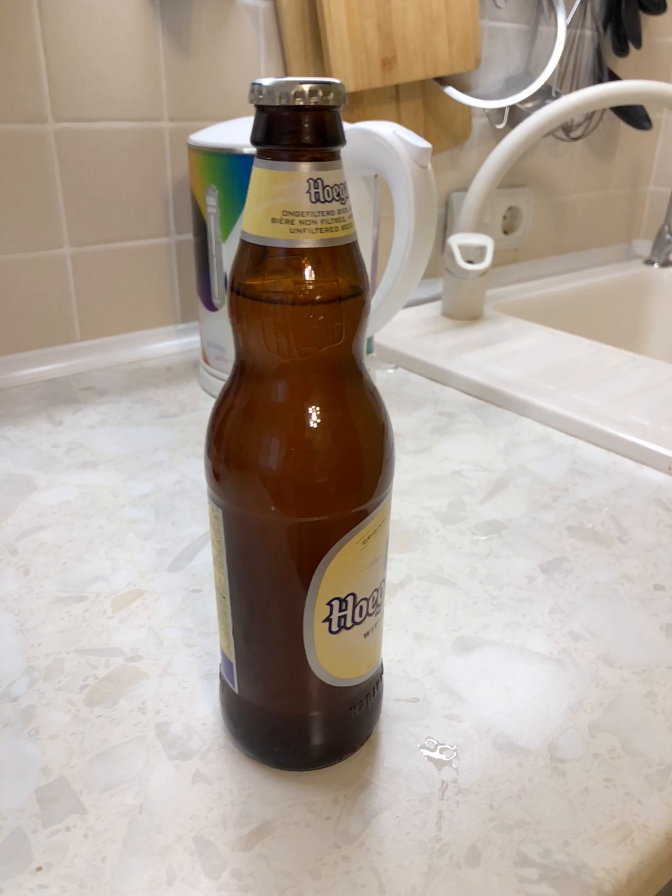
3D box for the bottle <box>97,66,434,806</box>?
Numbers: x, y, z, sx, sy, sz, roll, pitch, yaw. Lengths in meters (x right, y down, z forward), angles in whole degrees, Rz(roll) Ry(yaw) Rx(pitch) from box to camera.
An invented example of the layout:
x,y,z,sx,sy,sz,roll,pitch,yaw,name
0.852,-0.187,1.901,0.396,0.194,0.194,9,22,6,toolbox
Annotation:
x,y,z,sx,sy,sz,roll,pitch,yaw,name
-0.017,0.004,0.267,0.080,0.248,0.070,6,26,10,bottle
